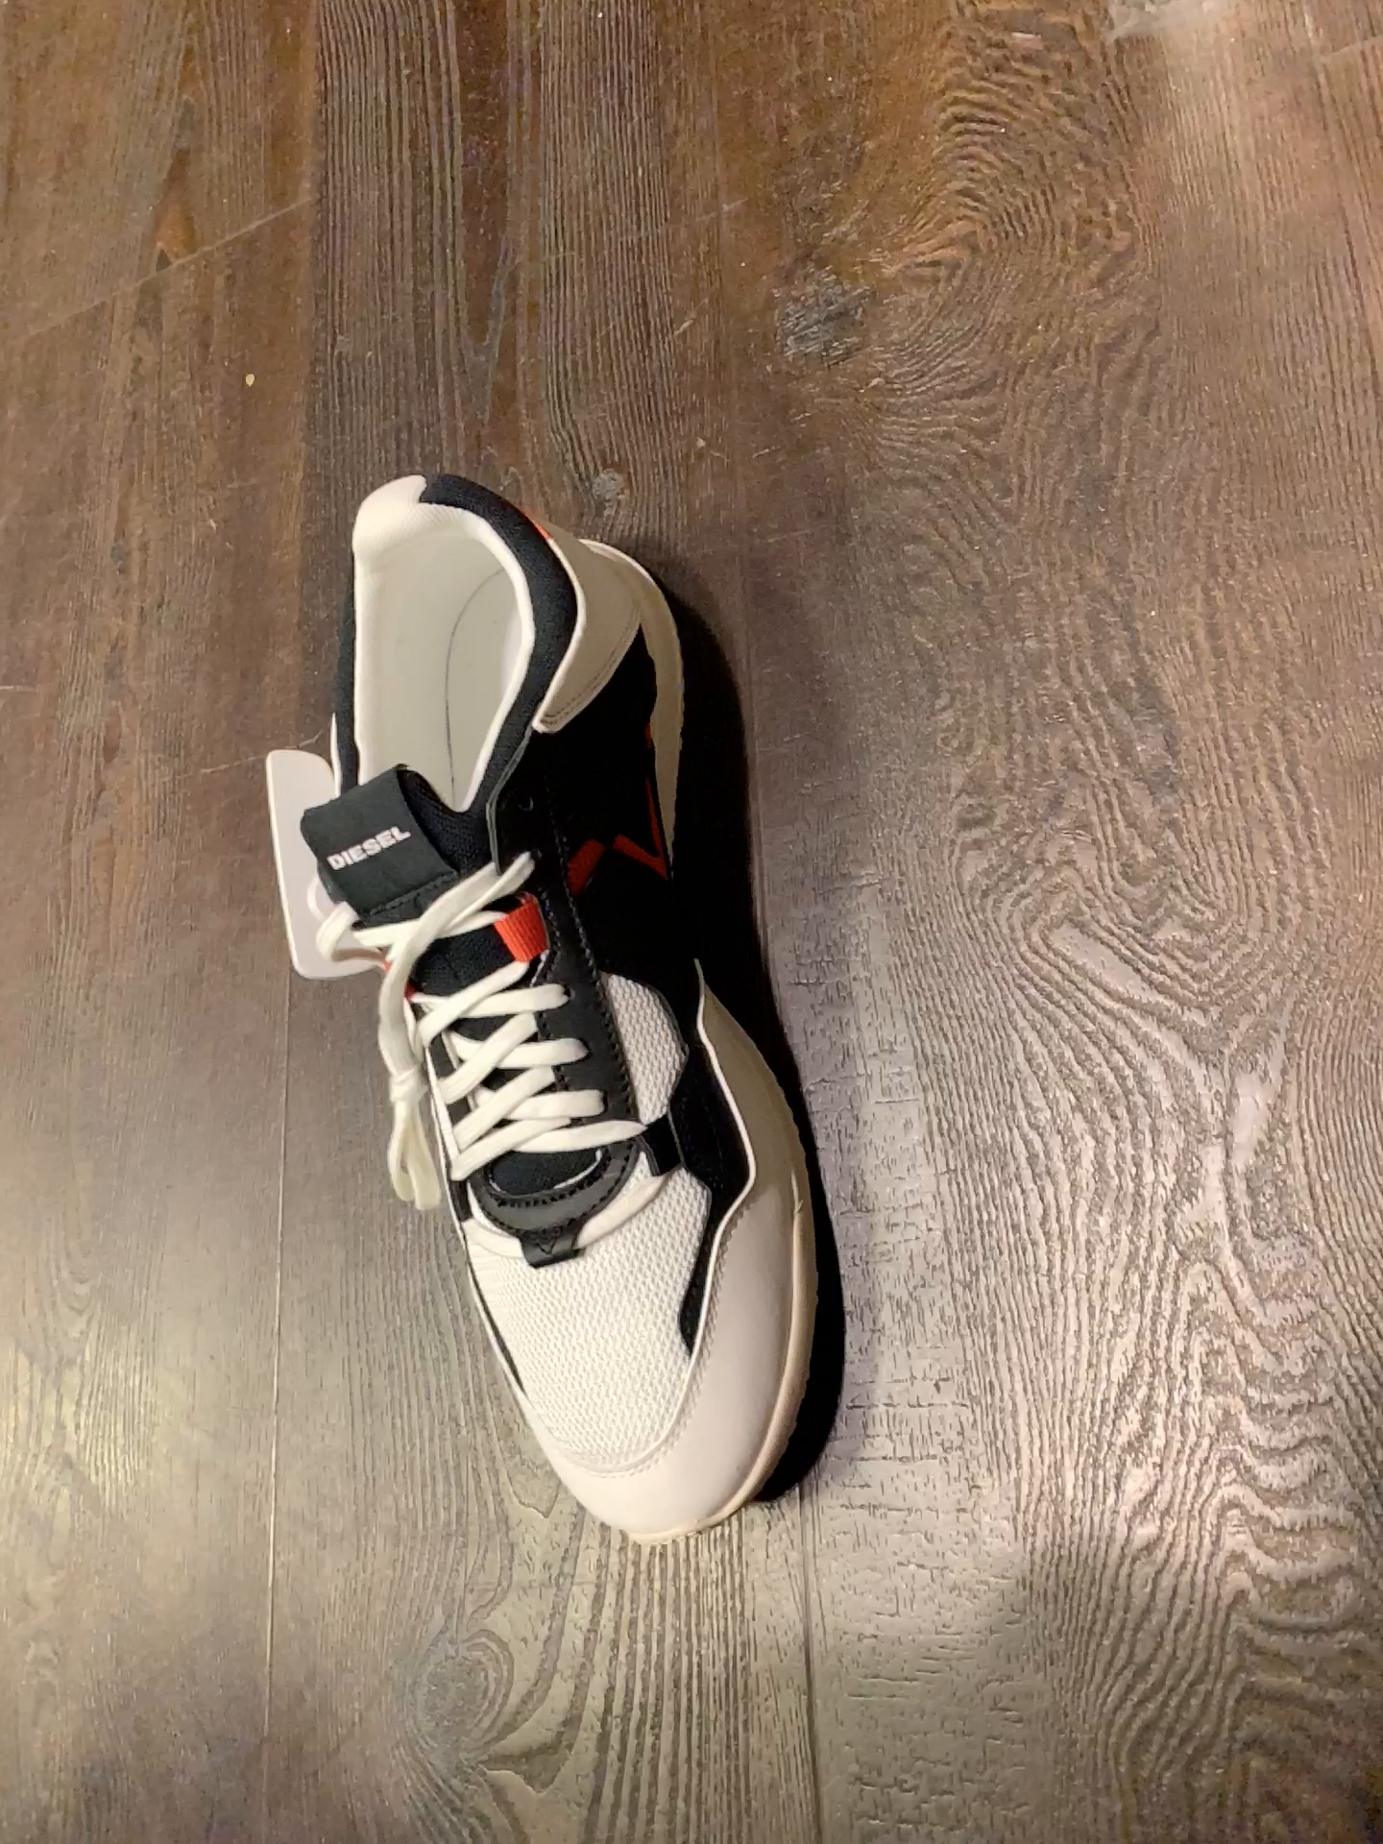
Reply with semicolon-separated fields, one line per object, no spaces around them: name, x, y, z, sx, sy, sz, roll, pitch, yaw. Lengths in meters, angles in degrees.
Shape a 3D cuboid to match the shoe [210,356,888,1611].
shoe;-0.046;0.015;0.401;0.110;0.109;0.301;-19;69;23
